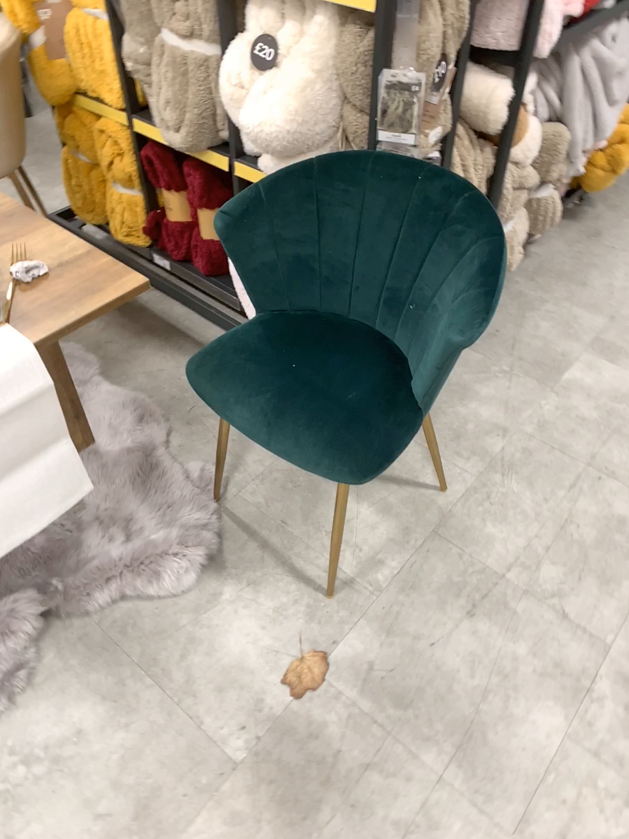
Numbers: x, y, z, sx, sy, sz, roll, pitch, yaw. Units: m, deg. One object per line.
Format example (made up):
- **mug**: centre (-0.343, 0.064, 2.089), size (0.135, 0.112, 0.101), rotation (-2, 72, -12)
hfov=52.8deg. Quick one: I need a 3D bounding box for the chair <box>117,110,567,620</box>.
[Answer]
- **chair**: centre (0.048, -0.112, 1.331), size (0.542, 0.753, 0.527), rotation (34, 55, 29)
